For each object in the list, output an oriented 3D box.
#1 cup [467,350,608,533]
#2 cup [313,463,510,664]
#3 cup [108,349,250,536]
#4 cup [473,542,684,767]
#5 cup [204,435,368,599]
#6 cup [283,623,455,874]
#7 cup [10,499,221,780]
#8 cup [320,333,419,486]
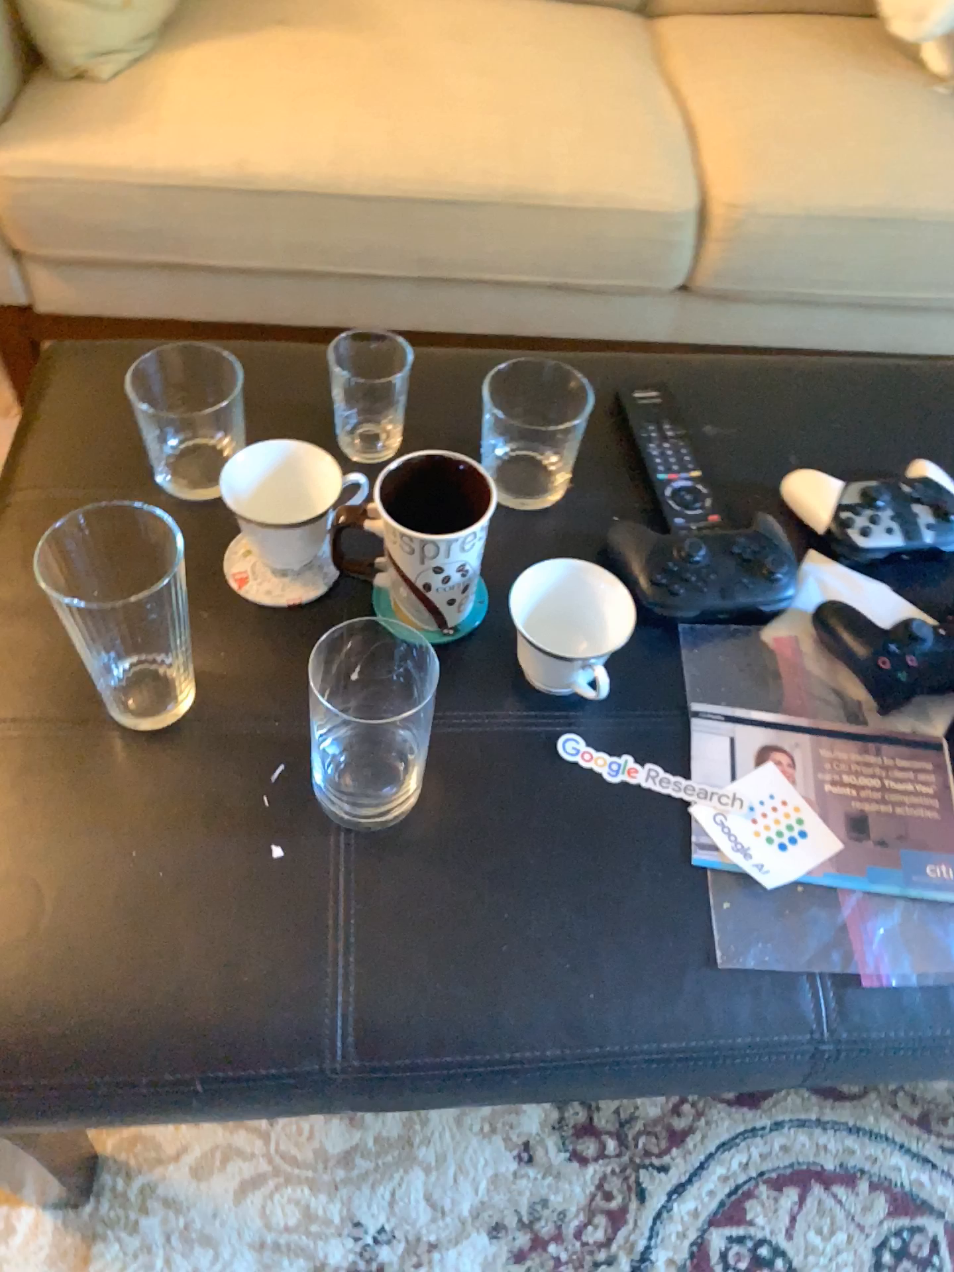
[{"bbox_3d":[0.046,-0.162,0.827,0.090,0.120,0.090,3,54,-4],"label":"cup"},{"bbox_3d":[-0.050,-0.051,0.725,0.130,0.120,0.090,-1,54,-6],"label":"cup"},{"bbox_3d":[-0.239,-0.158,0.810,0.090,0.120,0.090,3,54,-4],"label":"cup"},{"bbox_3d":[0.069,0.012,0.705,0.090,0.080,0.110,-29,61,-24],"label":"cup"},{"bbox_3d":[-0.143,-0.090,0.744,0.110,0.070,0.090,-7,55,-10],"label":"cup"},{"bbox_3d":[-0.068,0.072,0.605,0.090,0.139,0.090,3,54,-4],"label":"cup"},{"bbox_3d":[-0.232,0.009,0.662,0.090,0.189,0.090,3,54,-4],"label":"cup"},{"bbox_3d":[-0.092,-0.193,0.841,0.070,0.100,0.070,3,54,-4],"label":"cup"}]
